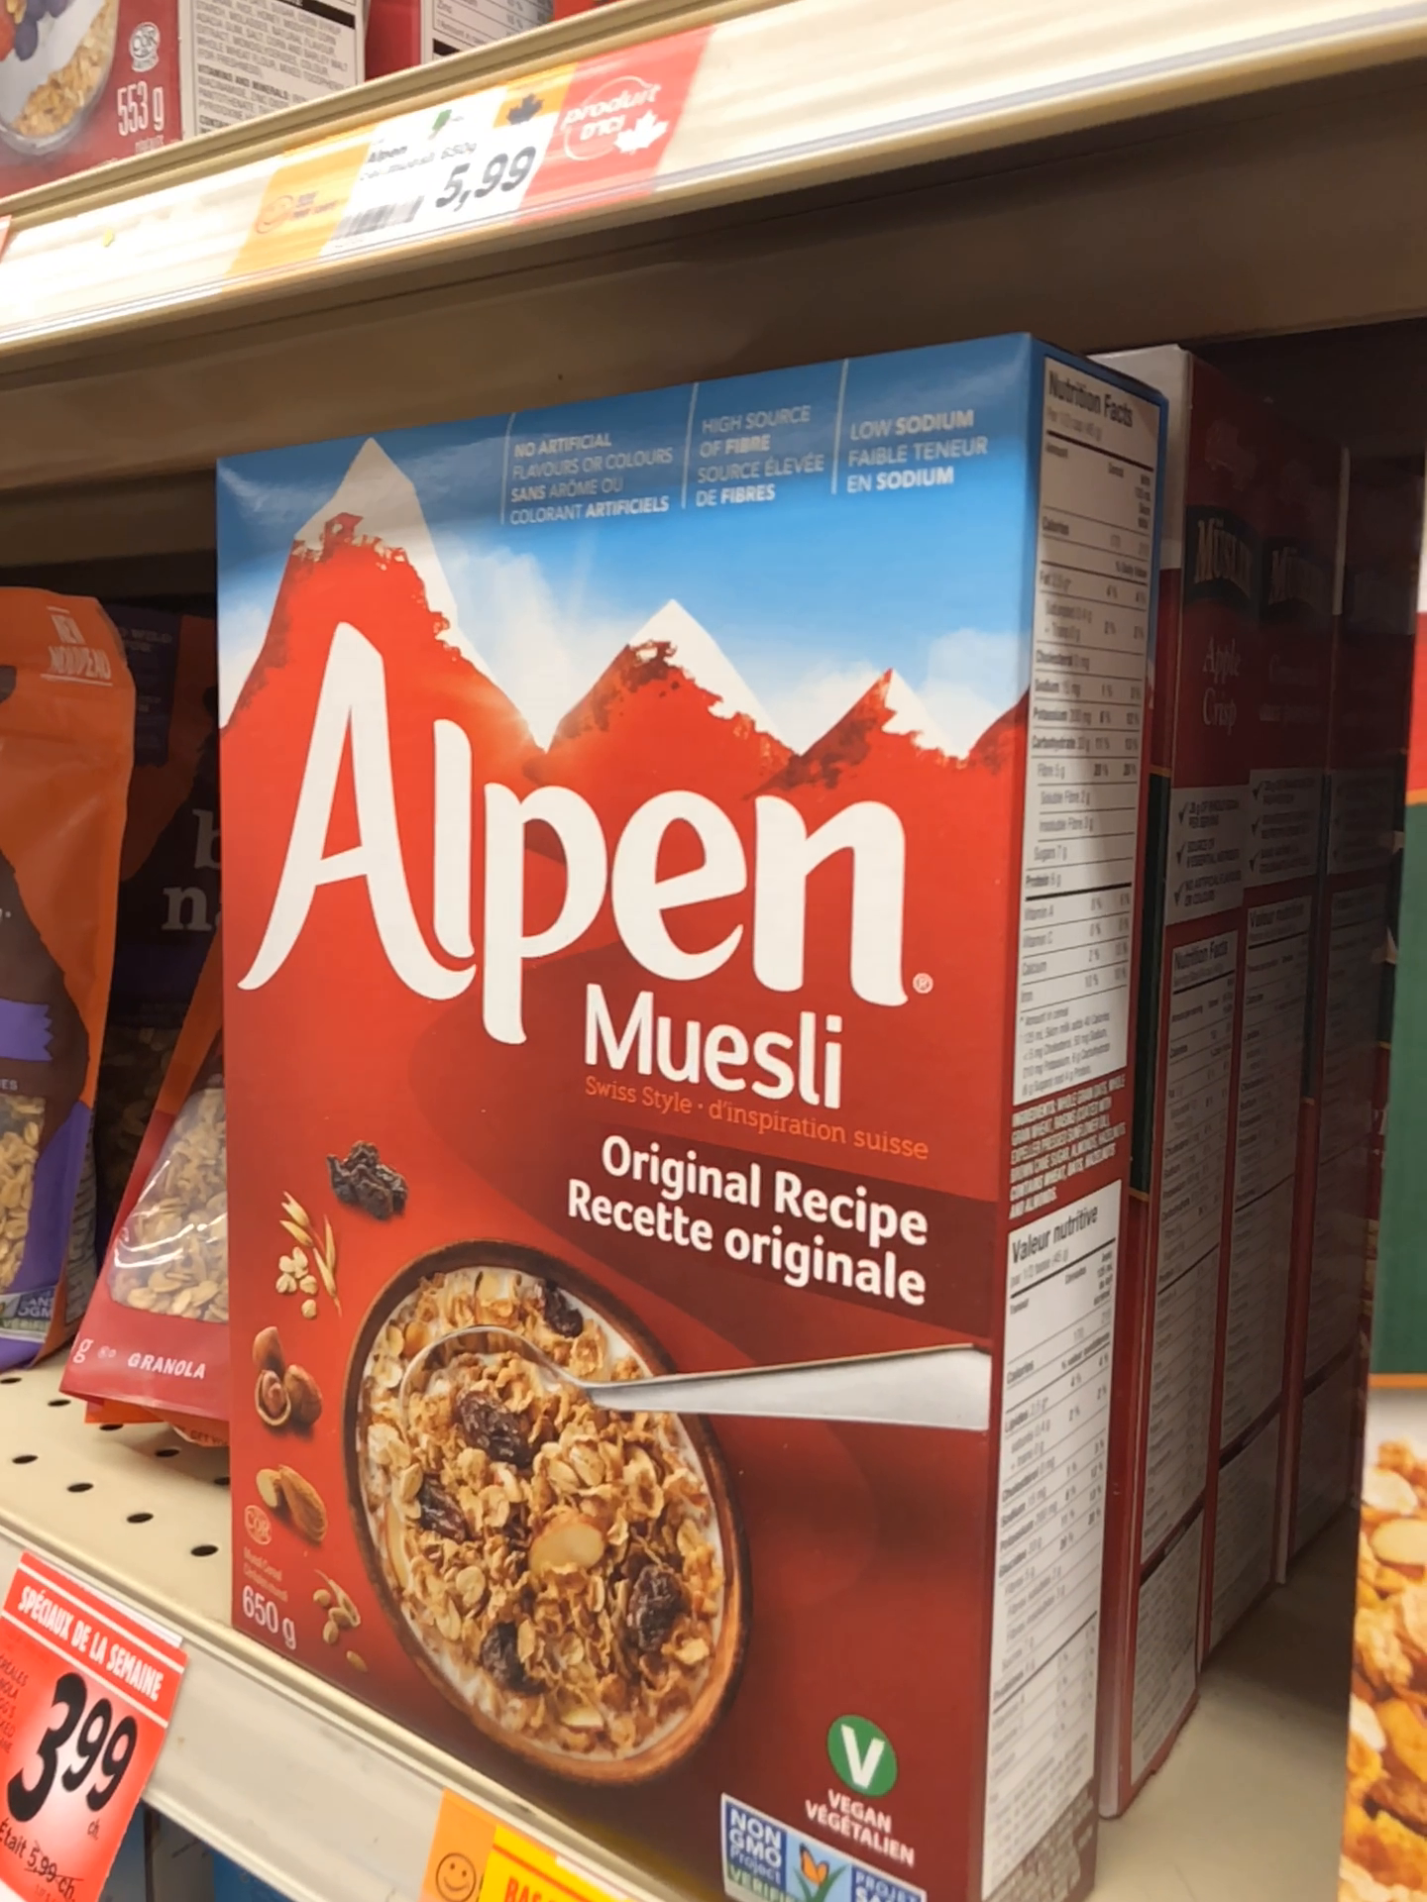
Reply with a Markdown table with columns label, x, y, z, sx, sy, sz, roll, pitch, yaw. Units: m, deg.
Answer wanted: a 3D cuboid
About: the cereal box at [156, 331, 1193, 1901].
| label | x | y | z | sx | sy | sz | roll | pitch | yaw |
| --- | --- | --- | --- | --- | --- | --- | --- | --- | --- |
| cereal box | -0.018 | 0.029 | 0.288 | 0.180 | 0.239 | 0.060 | 7 | 10 | 36 |
